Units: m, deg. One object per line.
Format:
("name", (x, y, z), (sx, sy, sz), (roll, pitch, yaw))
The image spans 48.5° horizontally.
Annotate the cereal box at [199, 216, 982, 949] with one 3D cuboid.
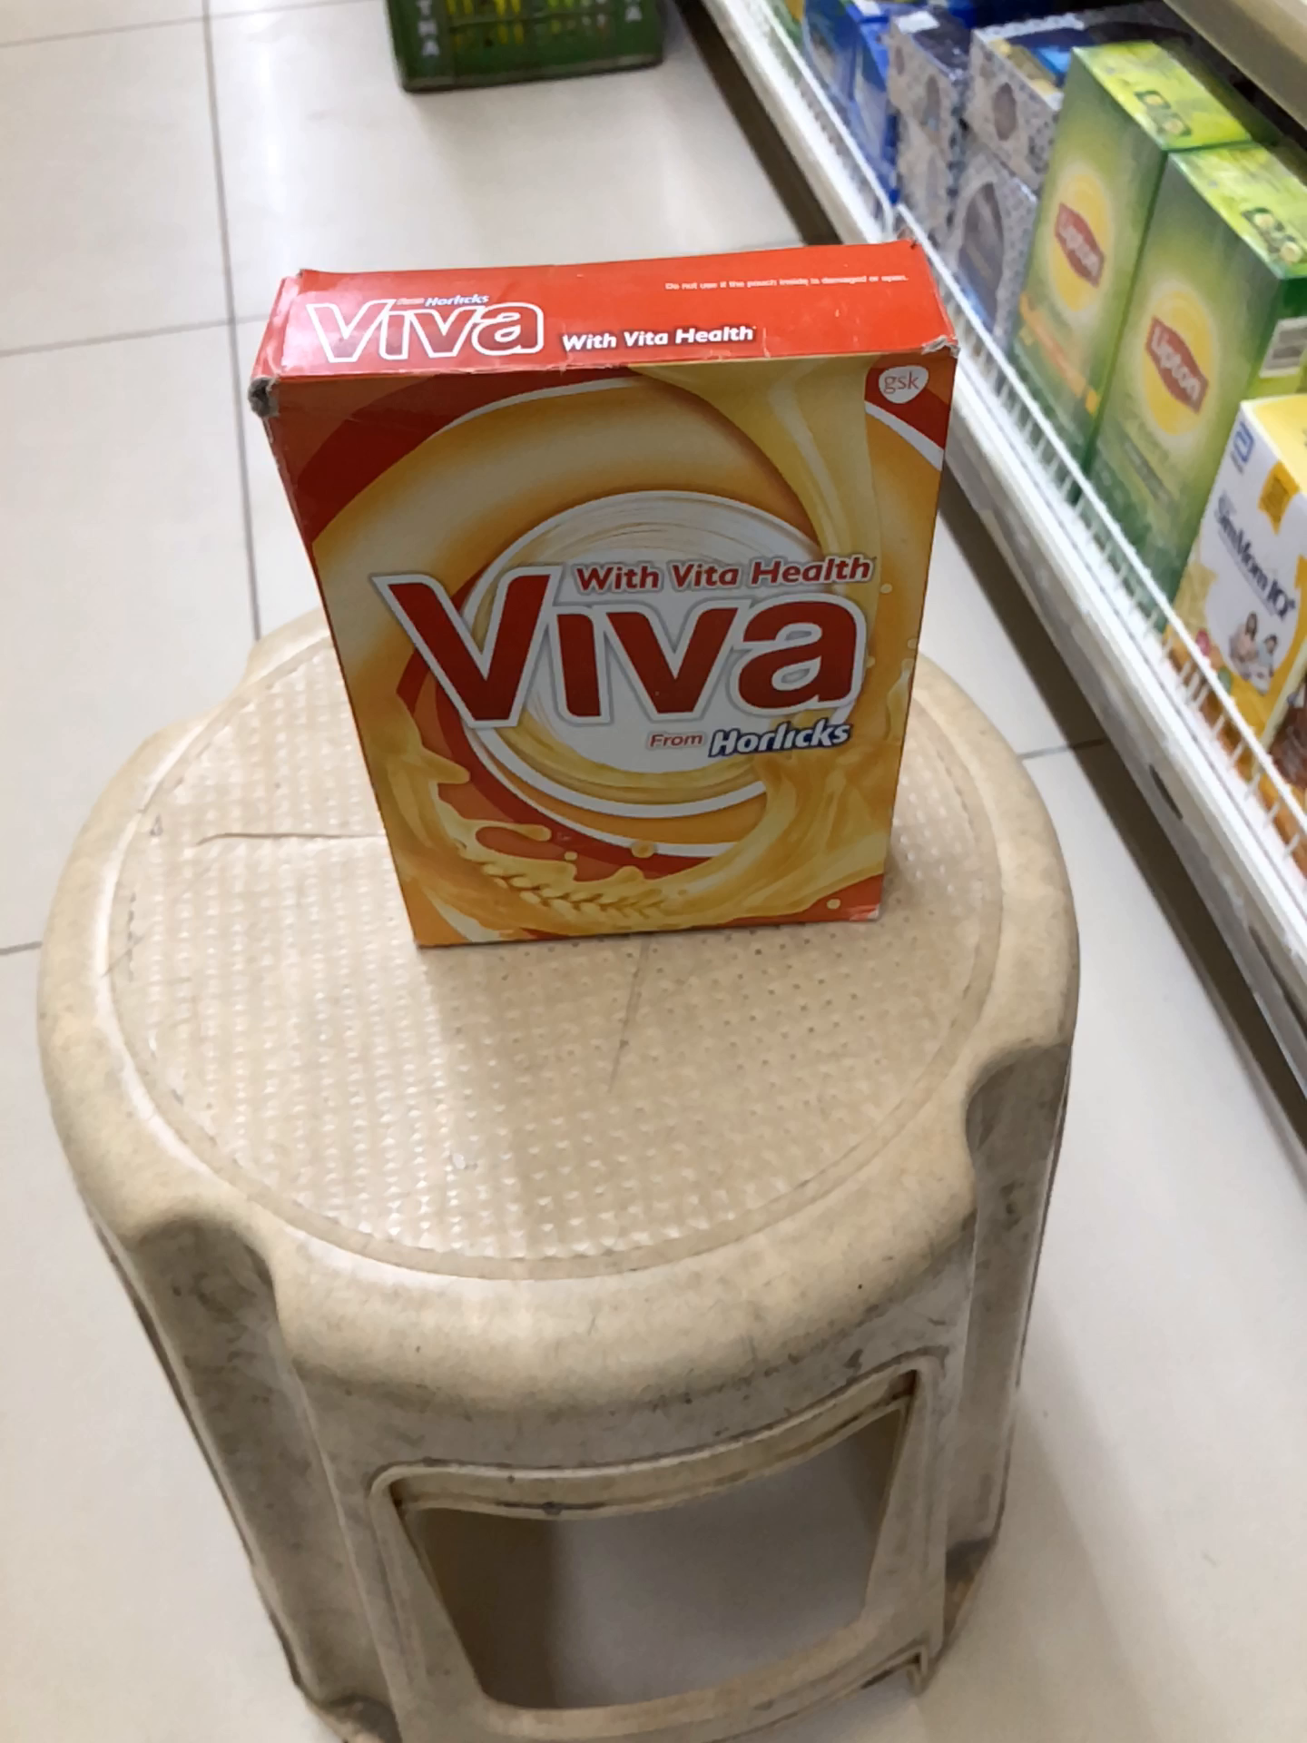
("cereal box", (-0.011, -0.062, 0.390), (0.160, 0.199, 0.050), (-4, 52, -1))
